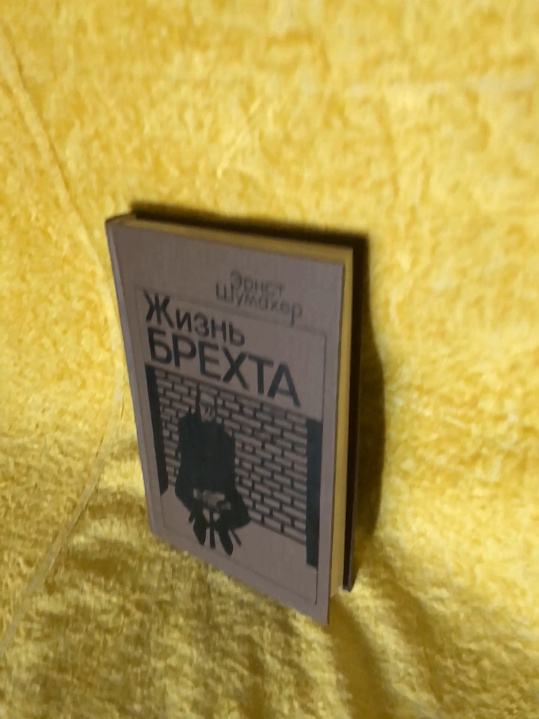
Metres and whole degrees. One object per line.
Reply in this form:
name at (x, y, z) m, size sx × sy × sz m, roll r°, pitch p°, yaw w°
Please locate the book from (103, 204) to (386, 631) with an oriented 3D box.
book at (-0.015, 0.031, 0.309) m, size 0.130 × 0.199 × 0.033 m, roll 17°, pitch 32°, yaw 29°
